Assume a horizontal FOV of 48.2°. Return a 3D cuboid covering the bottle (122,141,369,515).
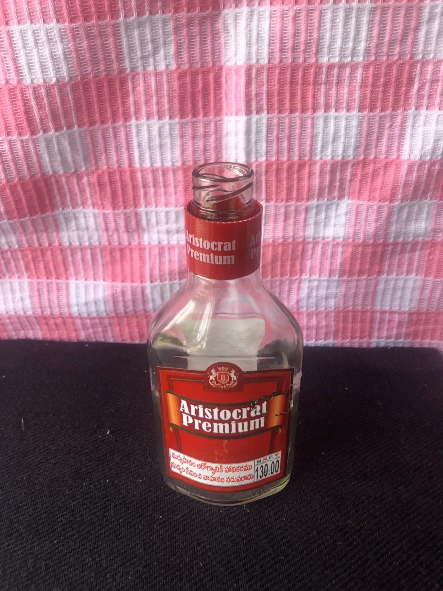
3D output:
[{"bbox_3d":[0.006,0.020,0.202,0.070,0.149,0.050,2,33,1],"label":"bottle"}]
